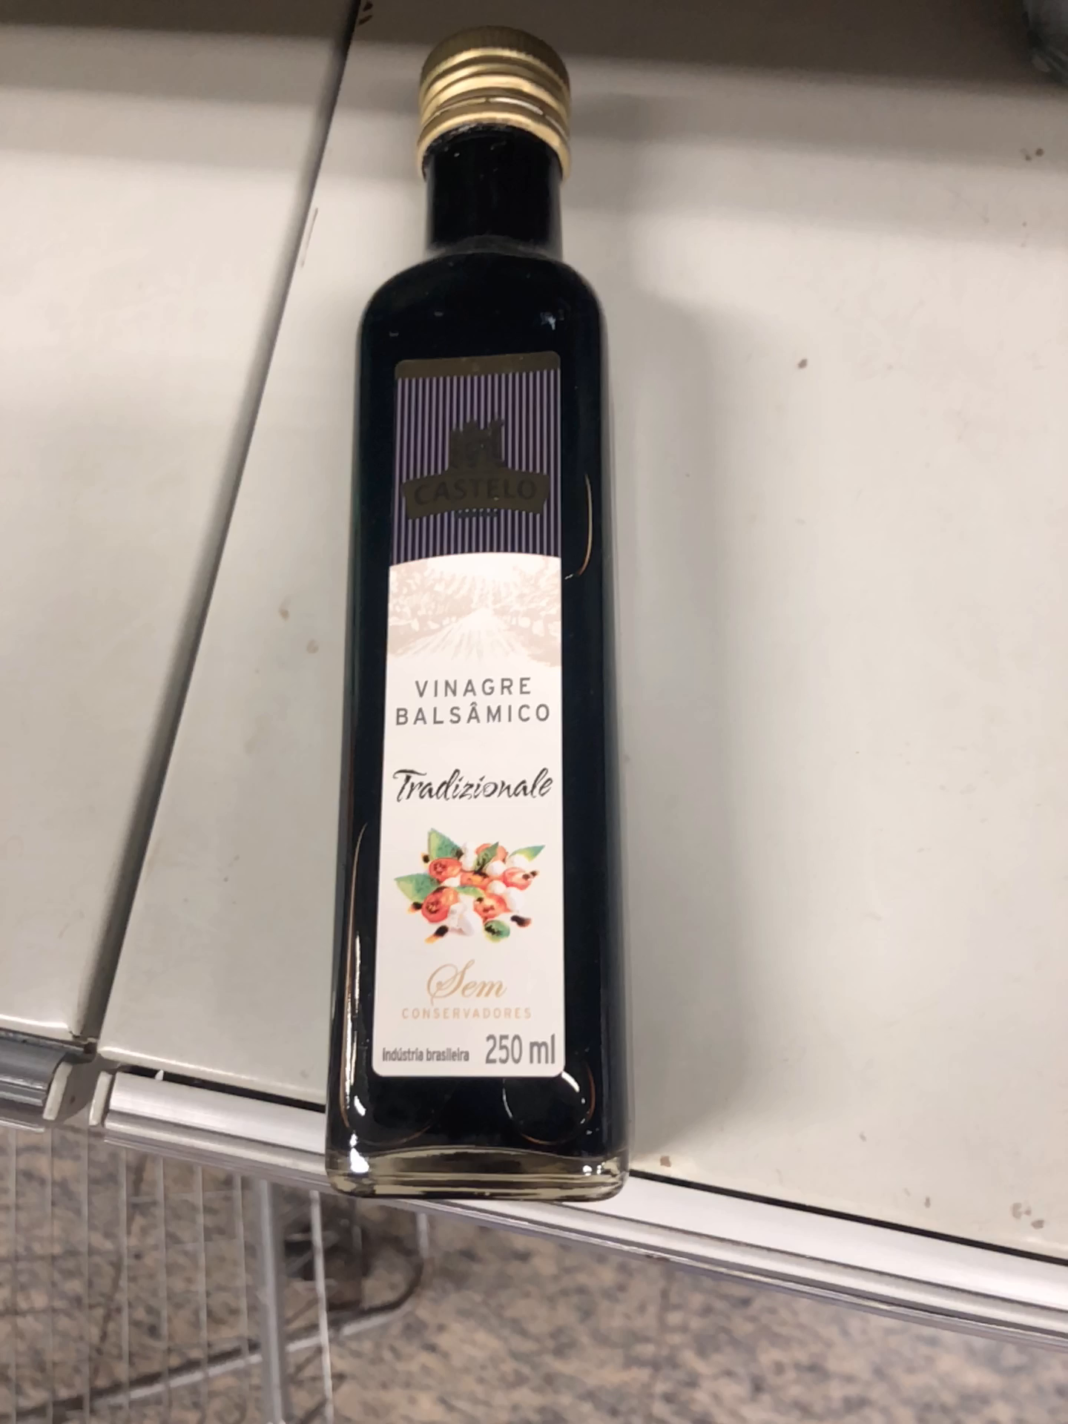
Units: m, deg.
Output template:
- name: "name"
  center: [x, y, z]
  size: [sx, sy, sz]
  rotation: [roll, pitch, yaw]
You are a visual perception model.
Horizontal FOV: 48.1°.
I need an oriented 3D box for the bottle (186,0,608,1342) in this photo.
- name: "bottle"
  center: [-0.017, -0.027, 0.228]
  size: [0.060, 0.060, 0.250]
  rotation: [0, 78, 5]
